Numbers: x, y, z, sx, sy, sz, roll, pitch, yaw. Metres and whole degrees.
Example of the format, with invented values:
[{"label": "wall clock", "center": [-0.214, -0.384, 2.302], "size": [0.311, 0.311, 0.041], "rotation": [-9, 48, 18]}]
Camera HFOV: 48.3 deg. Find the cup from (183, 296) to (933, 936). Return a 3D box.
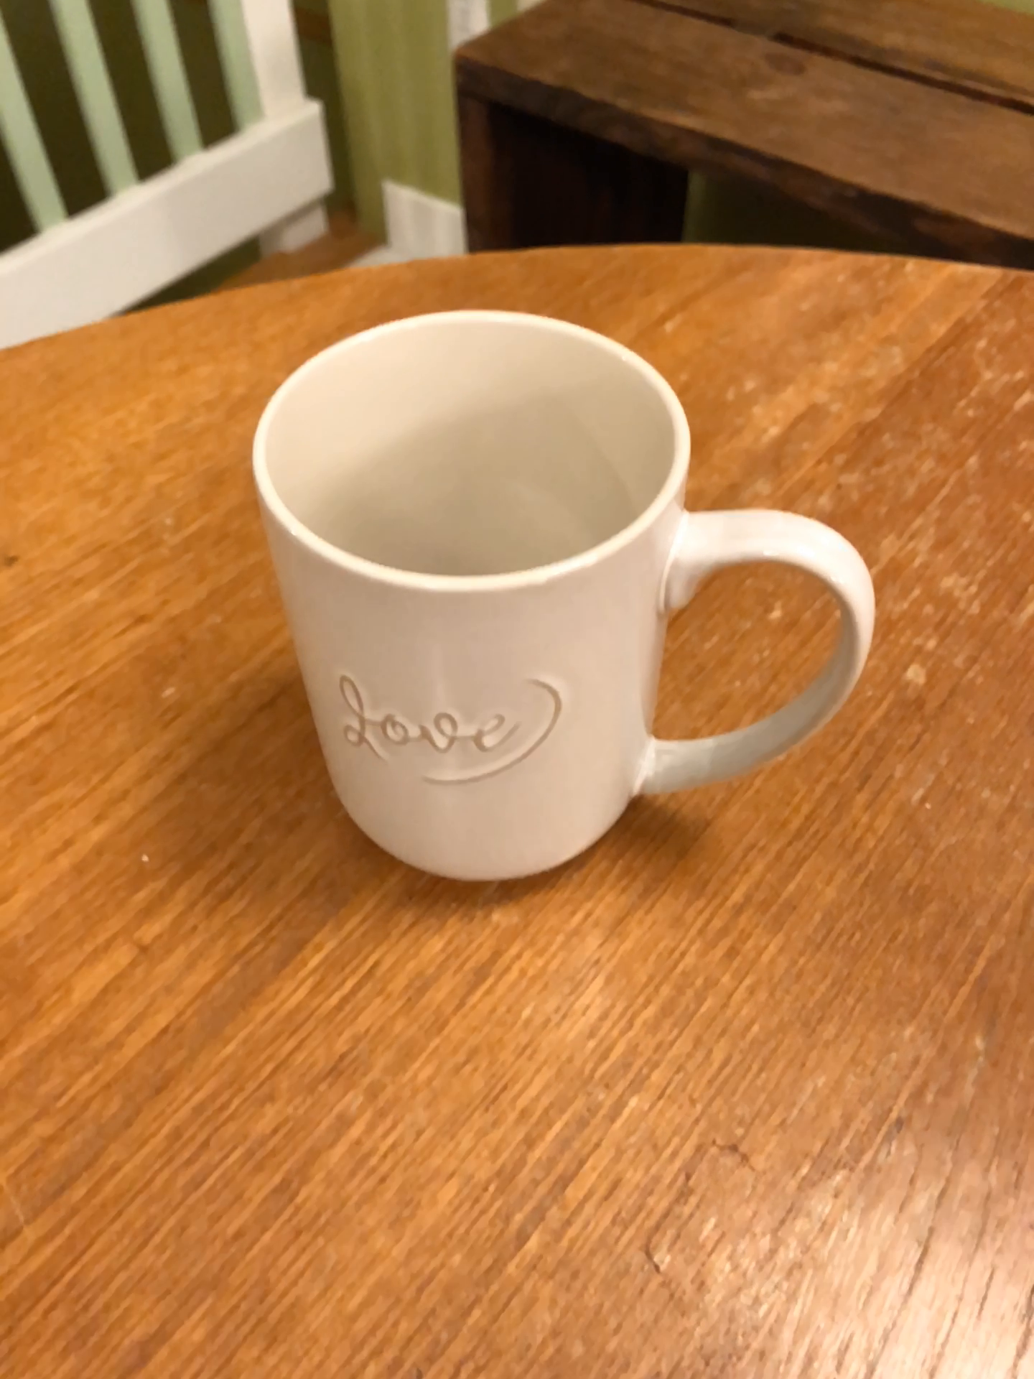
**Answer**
[{"label": "cup", "center": [0.010, -0.014, 0.283], "size": [0.134, 0.124, 0.092], "rotation": [2, 50, 3]}]
